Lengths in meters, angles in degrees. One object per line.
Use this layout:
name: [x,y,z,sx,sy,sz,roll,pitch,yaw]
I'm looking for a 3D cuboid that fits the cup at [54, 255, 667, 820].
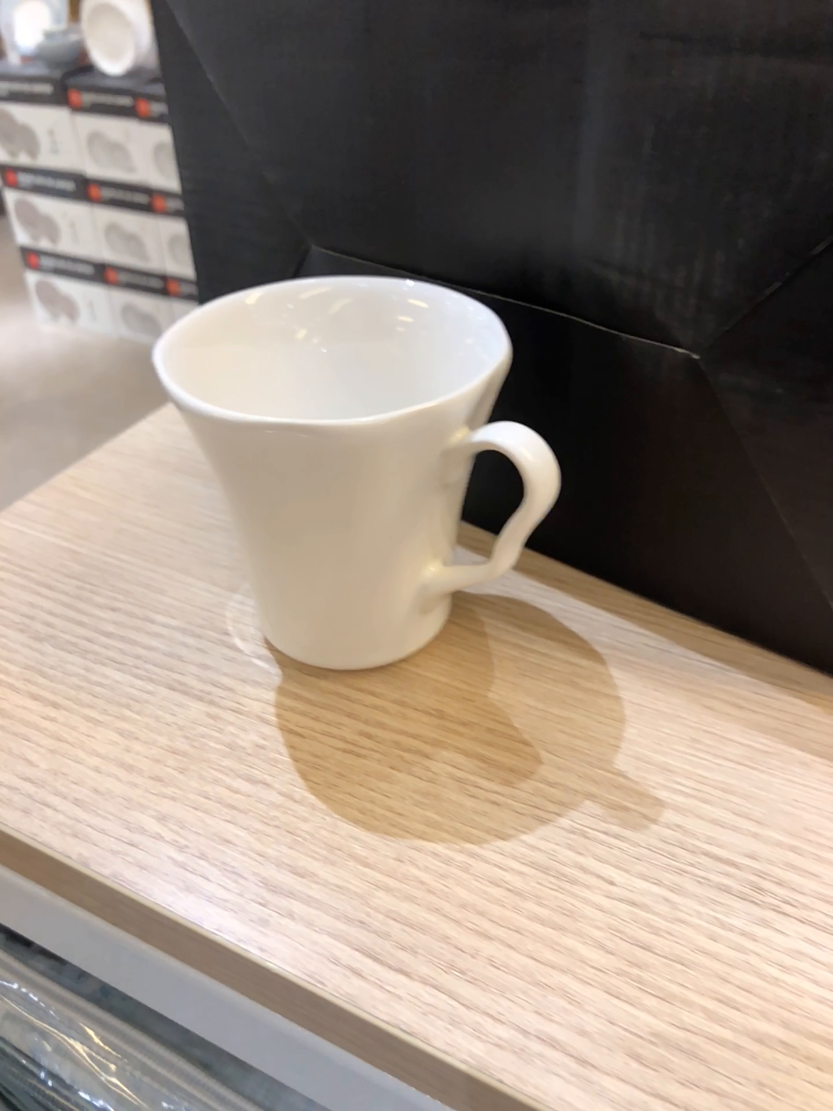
cup: [-0.012,-0.013,0.230,0.110,0.079,0.080,22,43,29]
